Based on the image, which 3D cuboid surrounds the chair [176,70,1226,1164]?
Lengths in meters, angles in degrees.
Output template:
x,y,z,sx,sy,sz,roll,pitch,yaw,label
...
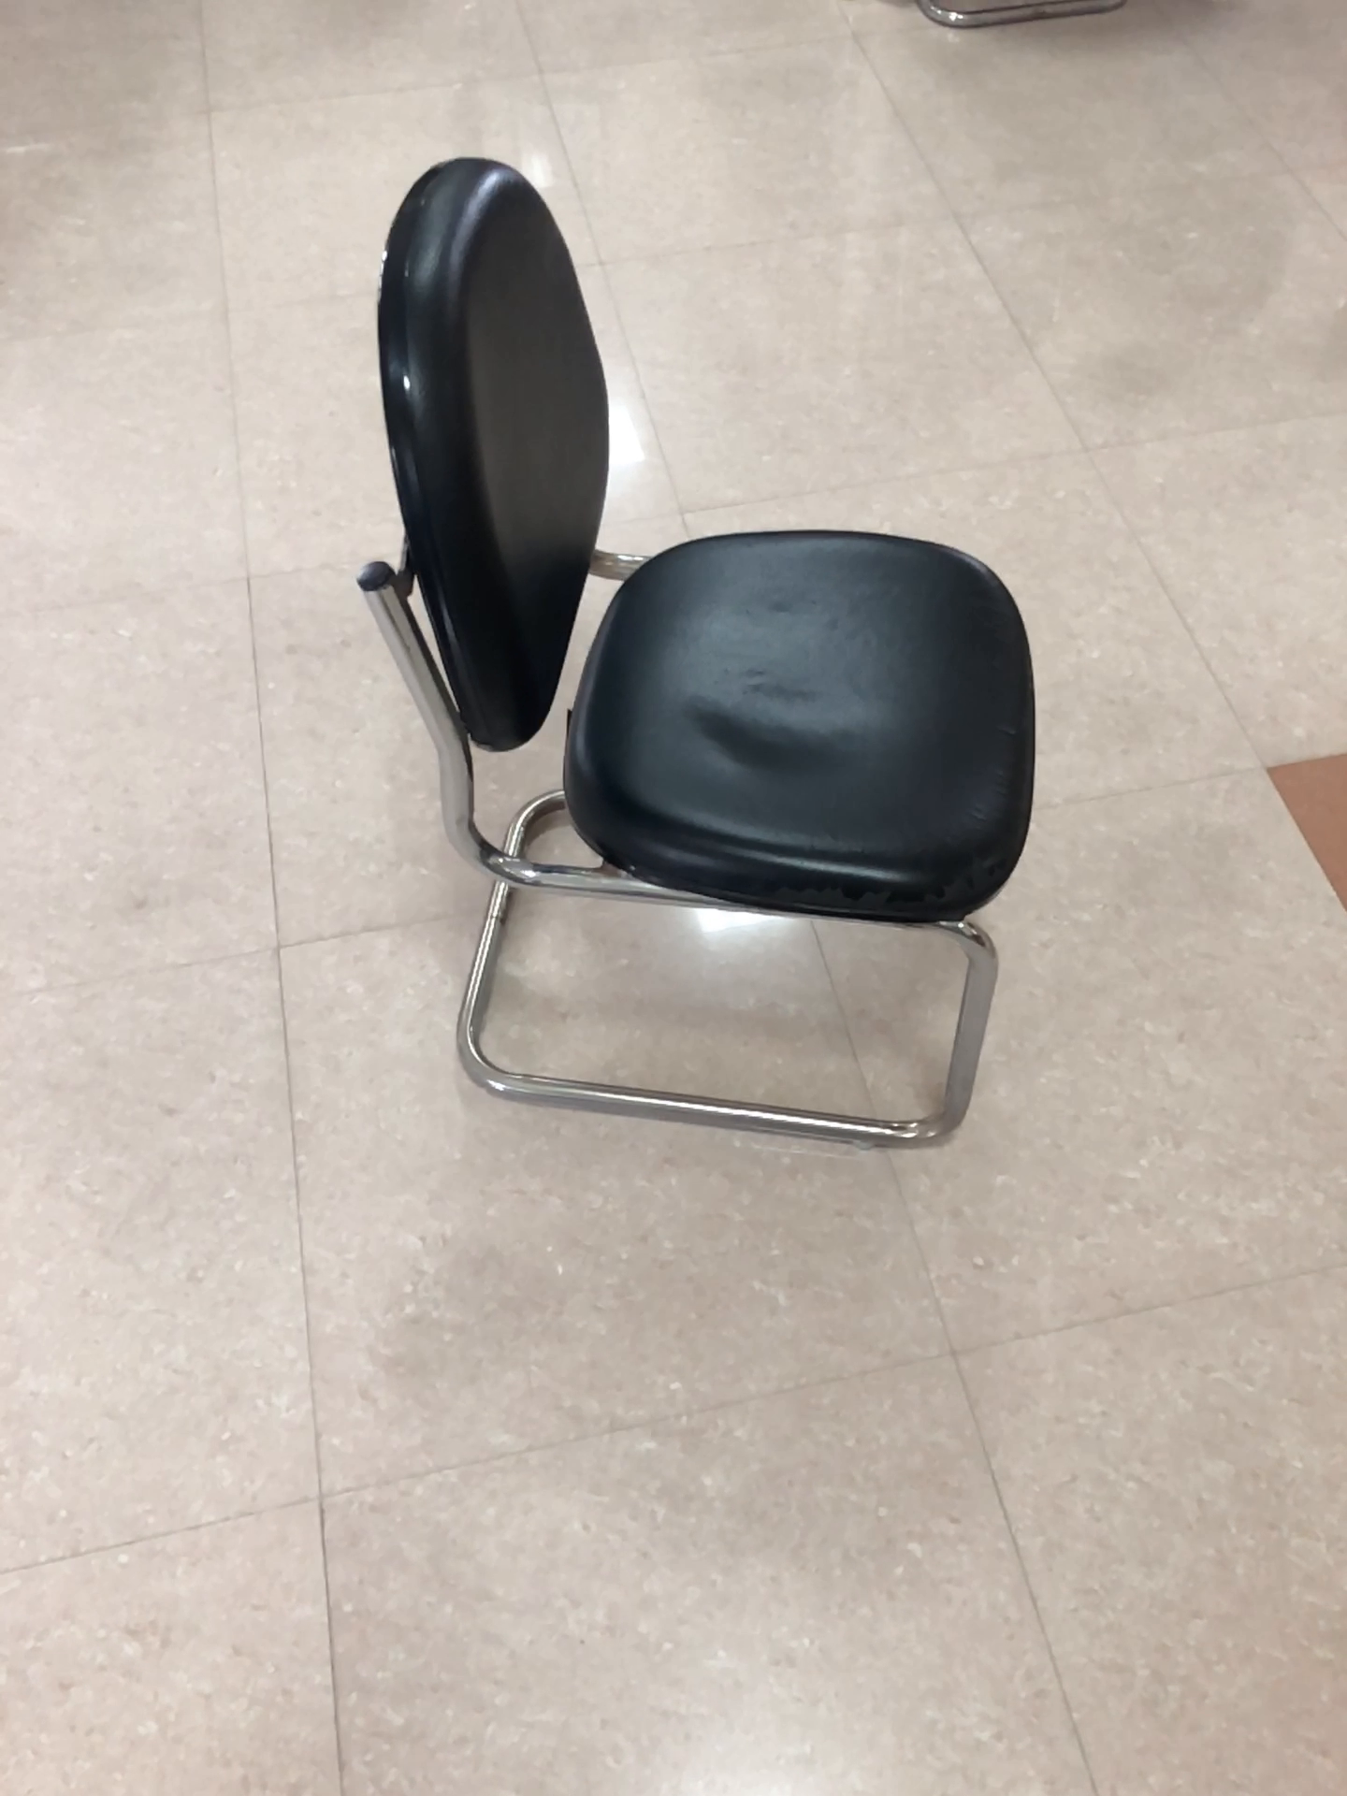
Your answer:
x,y,z,sx,sy,sz,roll,pitch,yaw,label
0.039,-0.185,1.281,0.590,0.759,0.501,5,57,4,chair
